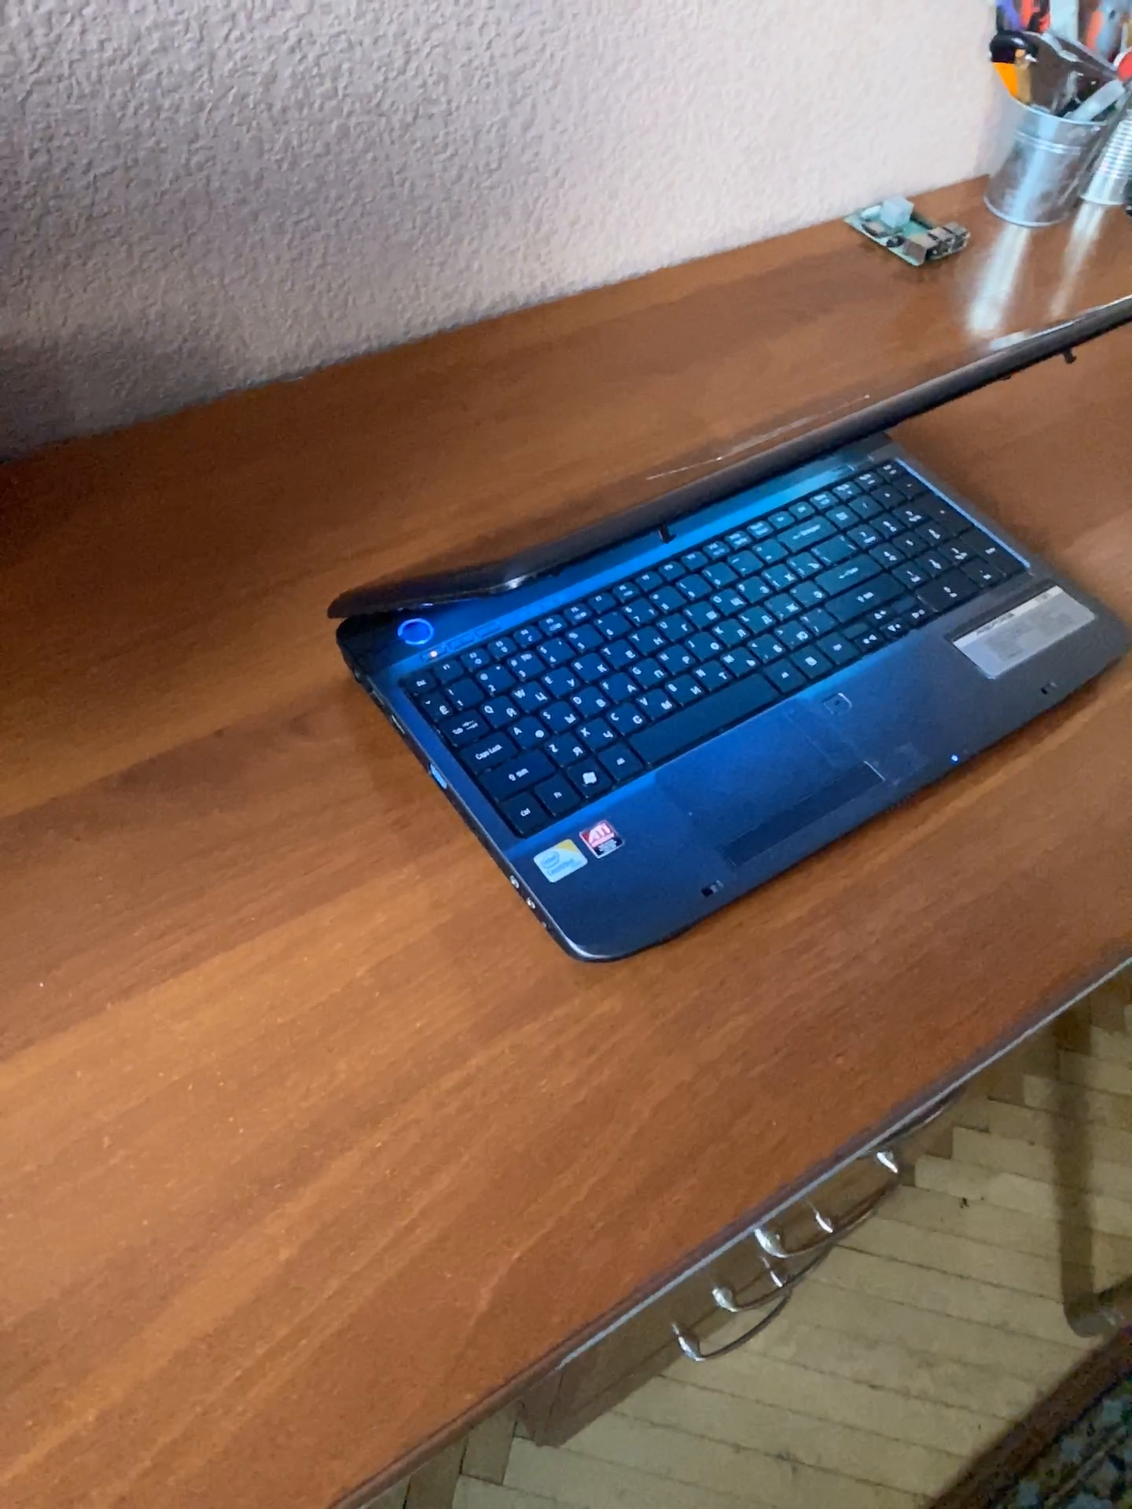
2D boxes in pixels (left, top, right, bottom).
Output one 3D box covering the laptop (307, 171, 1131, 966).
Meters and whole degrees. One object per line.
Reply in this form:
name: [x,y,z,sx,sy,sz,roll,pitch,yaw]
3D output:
laptop: [0.106,-0.117,0.585,0.381,0.163,0.241,-27,59,-23]
